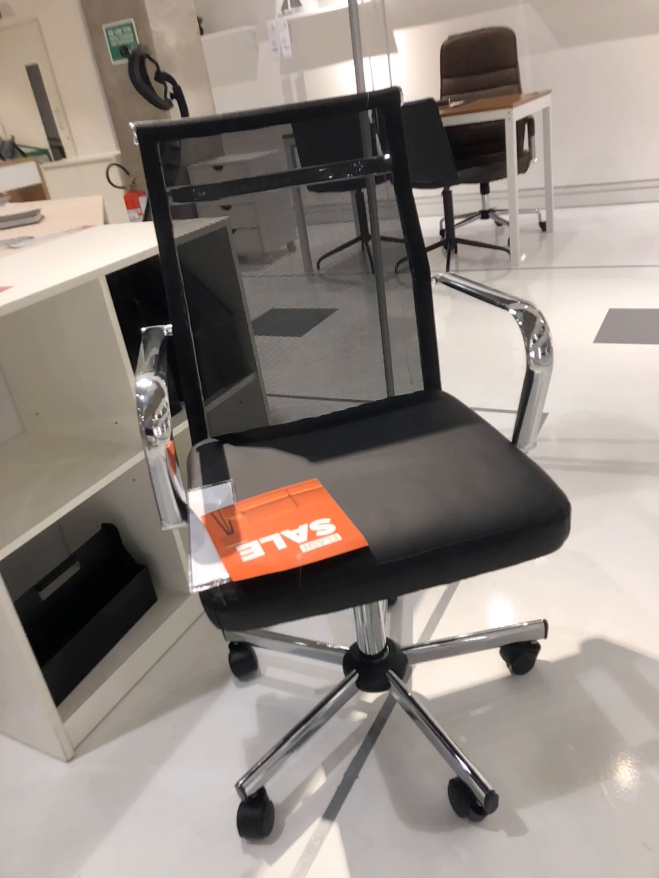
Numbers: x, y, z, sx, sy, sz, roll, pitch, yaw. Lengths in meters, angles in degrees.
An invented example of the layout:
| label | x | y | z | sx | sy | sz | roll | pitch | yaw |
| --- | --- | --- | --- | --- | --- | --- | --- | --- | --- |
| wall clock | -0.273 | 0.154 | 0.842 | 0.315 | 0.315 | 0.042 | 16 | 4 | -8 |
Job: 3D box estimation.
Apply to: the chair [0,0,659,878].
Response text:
| label | x | y | z | sx | sy | sz | roll | pitch | yaw |
| --- | --- | --- | --- | --- | --- | --- | --- | --- | --- |
| chair | 0.037 | -0.018 | 1.036 | 0.610 | 0.993 | 0.624 | -14 | 26 | -9 |
